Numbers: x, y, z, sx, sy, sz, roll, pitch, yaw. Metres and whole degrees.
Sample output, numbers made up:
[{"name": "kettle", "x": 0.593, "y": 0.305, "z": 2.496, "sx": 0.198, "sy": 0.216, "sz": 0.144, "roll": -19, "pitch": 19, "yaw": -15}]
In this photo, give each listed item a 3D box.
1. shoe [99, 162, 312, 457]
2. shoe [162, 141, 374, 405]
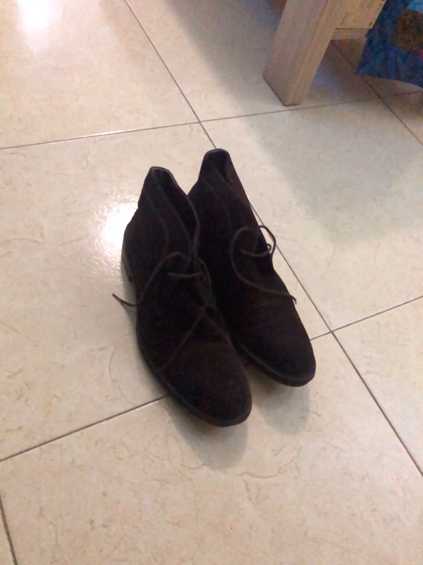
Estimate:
[{"name": "shoe", "x": -0.028, "y": 0.021, "z": 0.545, "sx": 0.110, "sy": 0.130, "sz": 0.300, "roll": -16, "pitch": 62, "yaw": -24}, {"name": "shoe", "x": 0.051, "y": -0.020, "z": 0.608, "sx": 0.110, "sy": 0.140, "sz": 0.300, "roll": -16, "pitch": 62, "yaw": -24}]
